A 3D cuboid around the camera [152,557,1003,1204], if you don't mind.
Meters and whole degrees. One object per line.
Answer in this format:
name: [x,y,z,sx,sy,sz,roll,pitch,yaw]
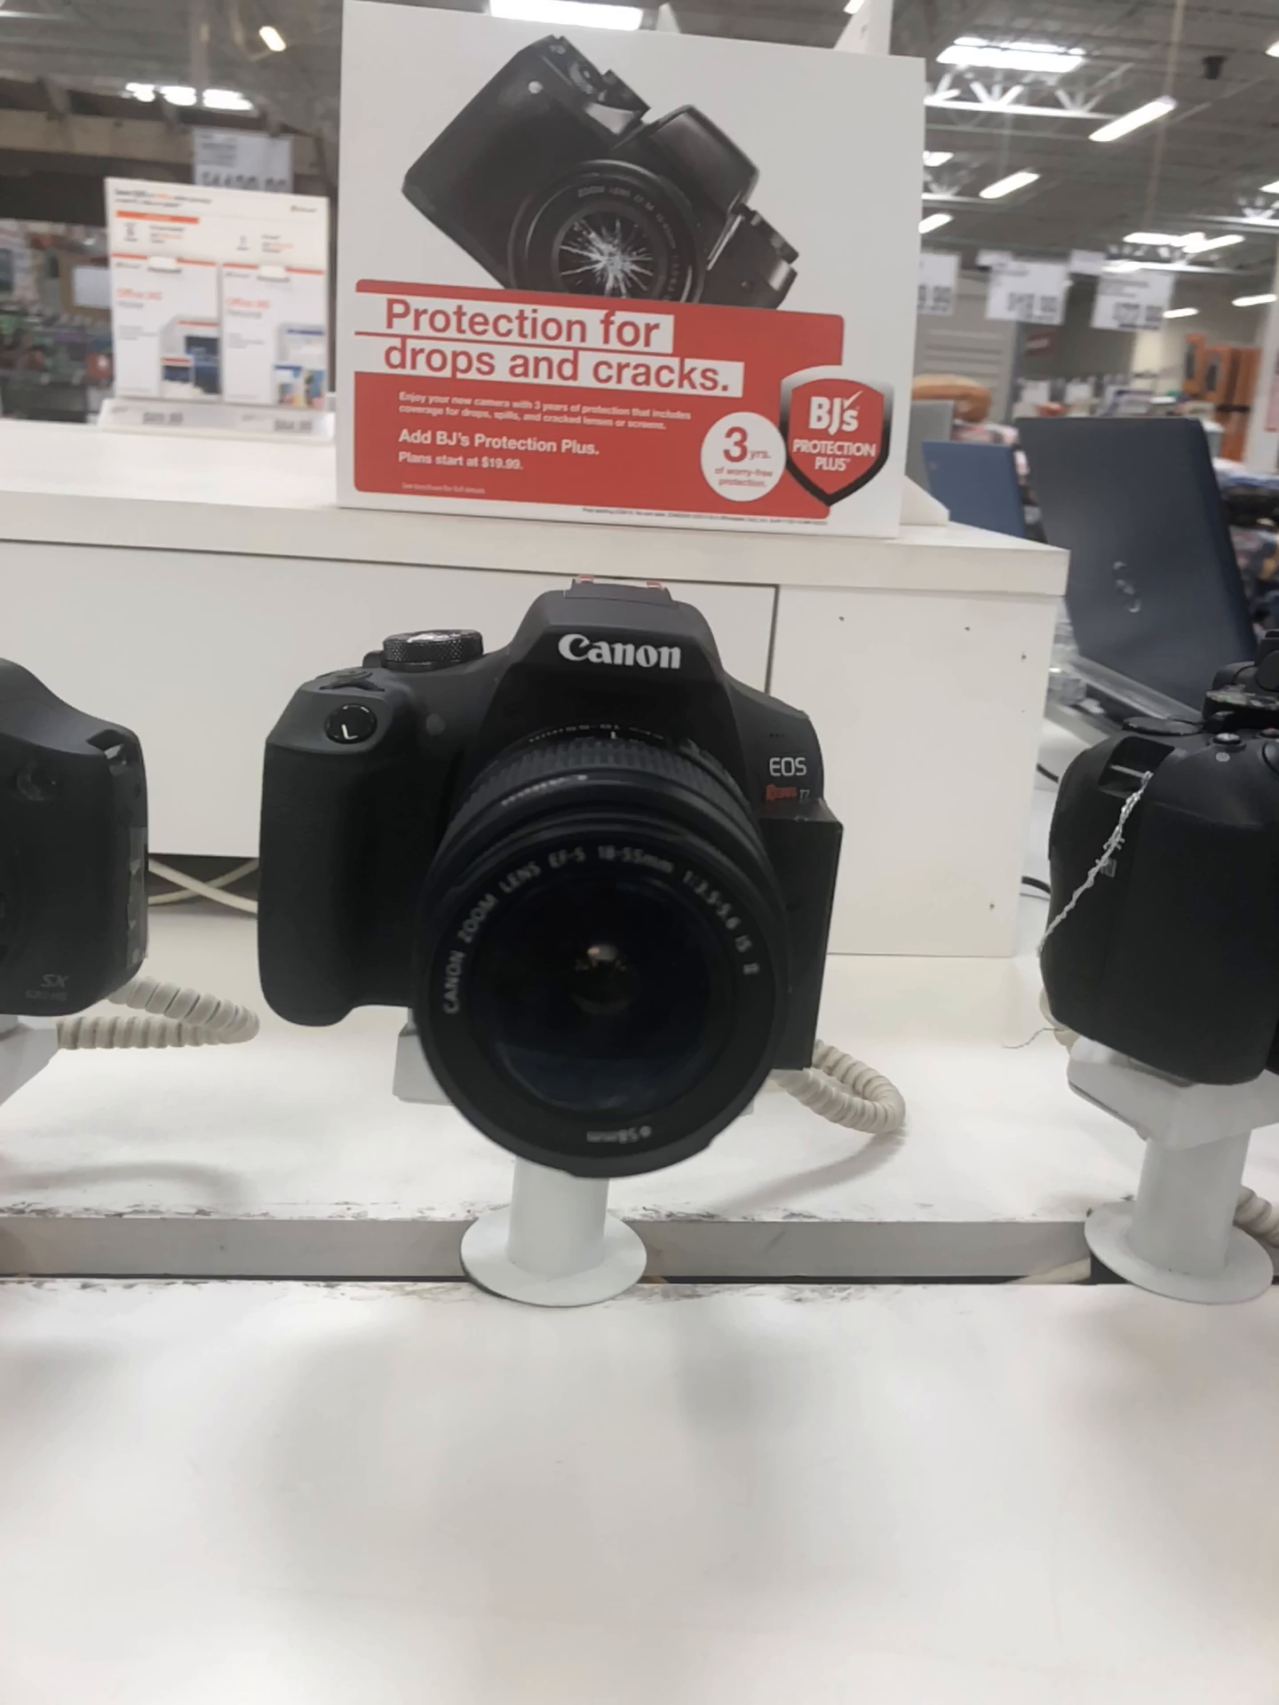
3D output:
camera: [-0.016,-0.004,0.291,0.130,0.092,0.132,2,17,-6]
